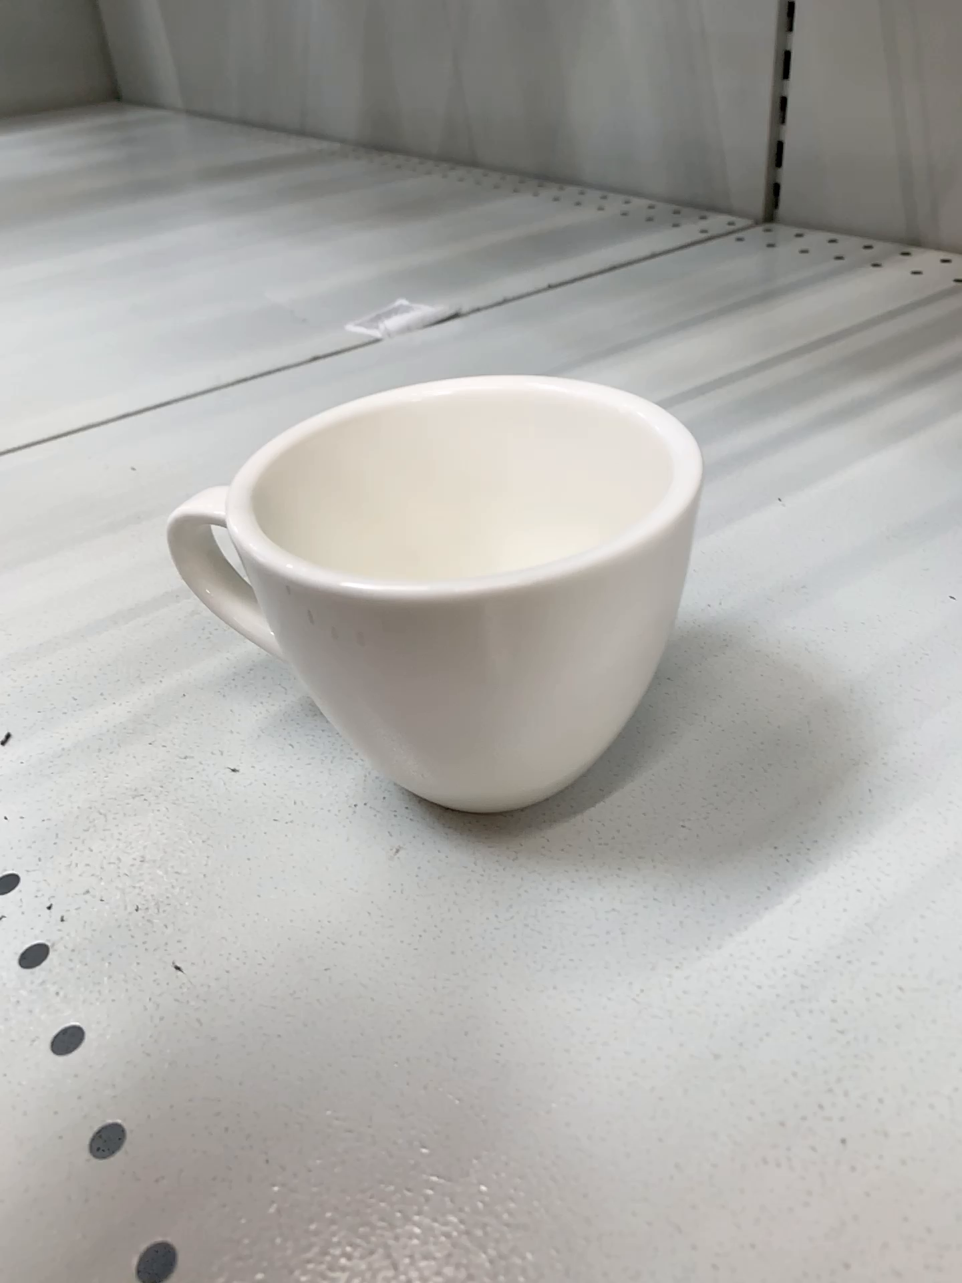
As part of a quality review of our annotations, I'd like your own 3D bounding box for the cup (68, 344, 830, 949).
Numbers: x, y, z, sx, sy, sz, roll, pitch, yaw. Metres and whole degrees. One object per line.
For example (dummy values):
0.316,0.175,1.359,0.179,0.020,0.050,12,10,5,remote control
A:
-0.001,-0.011,0.227,0.128,0.072,0.096,13,39,25,cup
